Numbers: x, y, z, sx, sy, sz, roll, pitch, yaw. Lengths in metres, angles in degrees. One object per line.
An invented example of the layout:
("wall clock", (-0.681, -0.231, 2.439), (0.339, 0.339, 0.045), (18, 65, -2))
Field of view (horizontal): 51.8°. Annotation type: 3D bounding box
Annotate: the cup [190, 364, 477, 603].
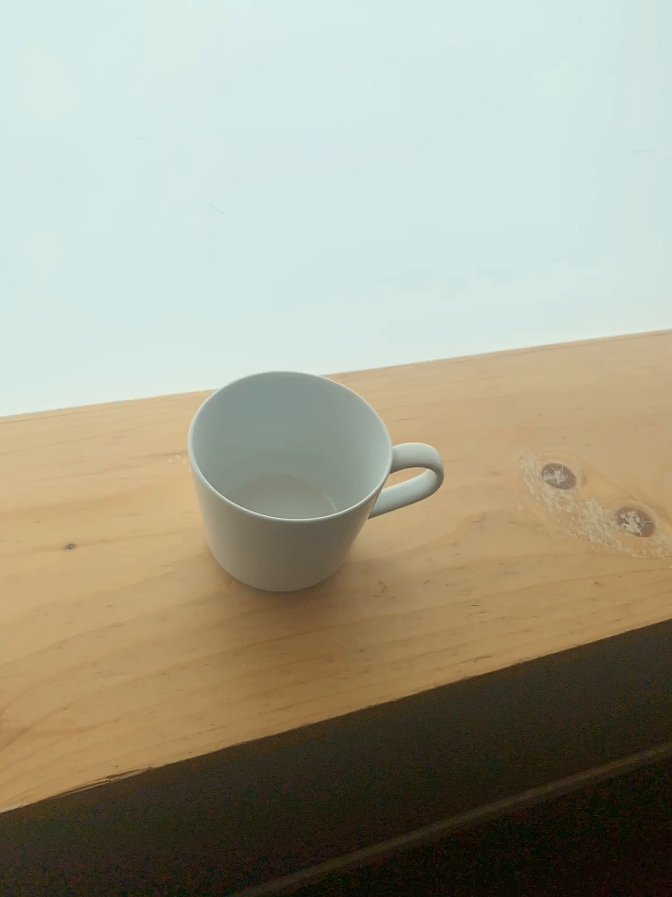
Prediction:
("cup", (-0.009, 0.017, 0.373), (0.130, 0.080, 0.090), (-3, 51, -12))
